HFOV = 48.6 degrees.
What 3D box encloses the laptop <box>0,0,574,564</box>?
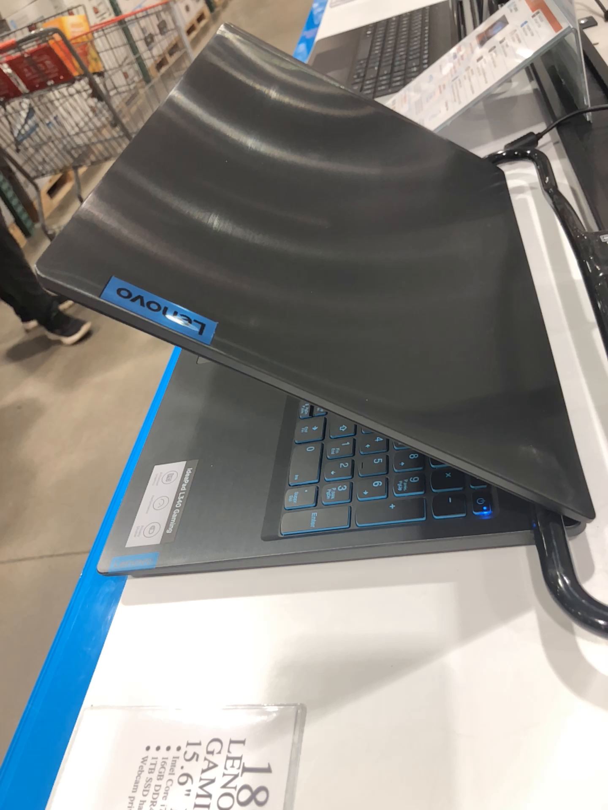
[{"bbox_3d":[-0.005,-0.109,0.400,0.240,0.170,0.346,-10,40,18],"label":"laptop"}]
